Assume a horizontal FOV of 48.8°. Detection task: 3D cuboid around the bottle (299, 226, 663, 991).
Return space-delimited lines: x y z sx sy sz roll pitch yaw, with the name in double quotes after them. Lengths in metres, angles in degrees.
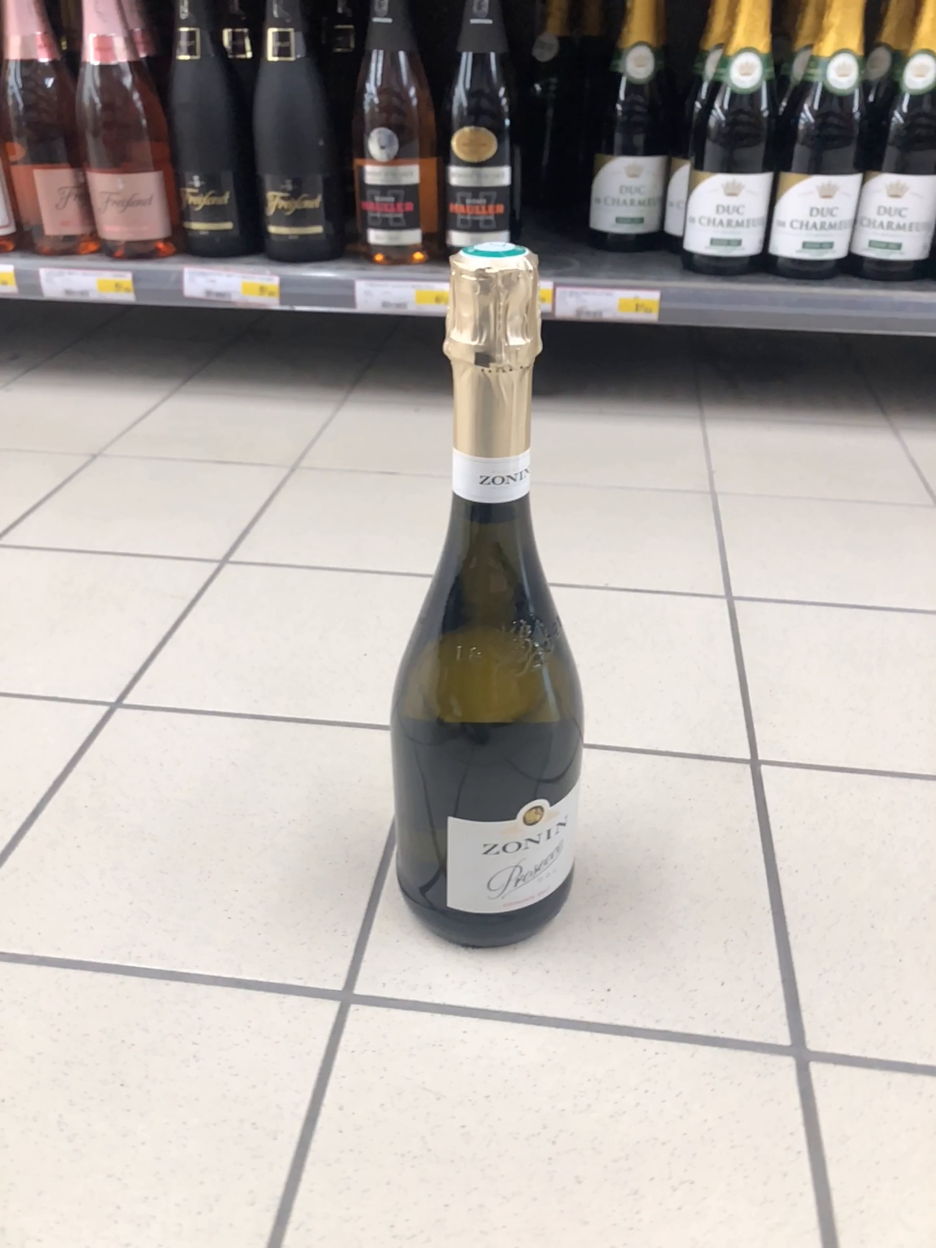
0.002 0.001 0.449 0.100 0.308 0.090 -15 33 -25 "bottle"
